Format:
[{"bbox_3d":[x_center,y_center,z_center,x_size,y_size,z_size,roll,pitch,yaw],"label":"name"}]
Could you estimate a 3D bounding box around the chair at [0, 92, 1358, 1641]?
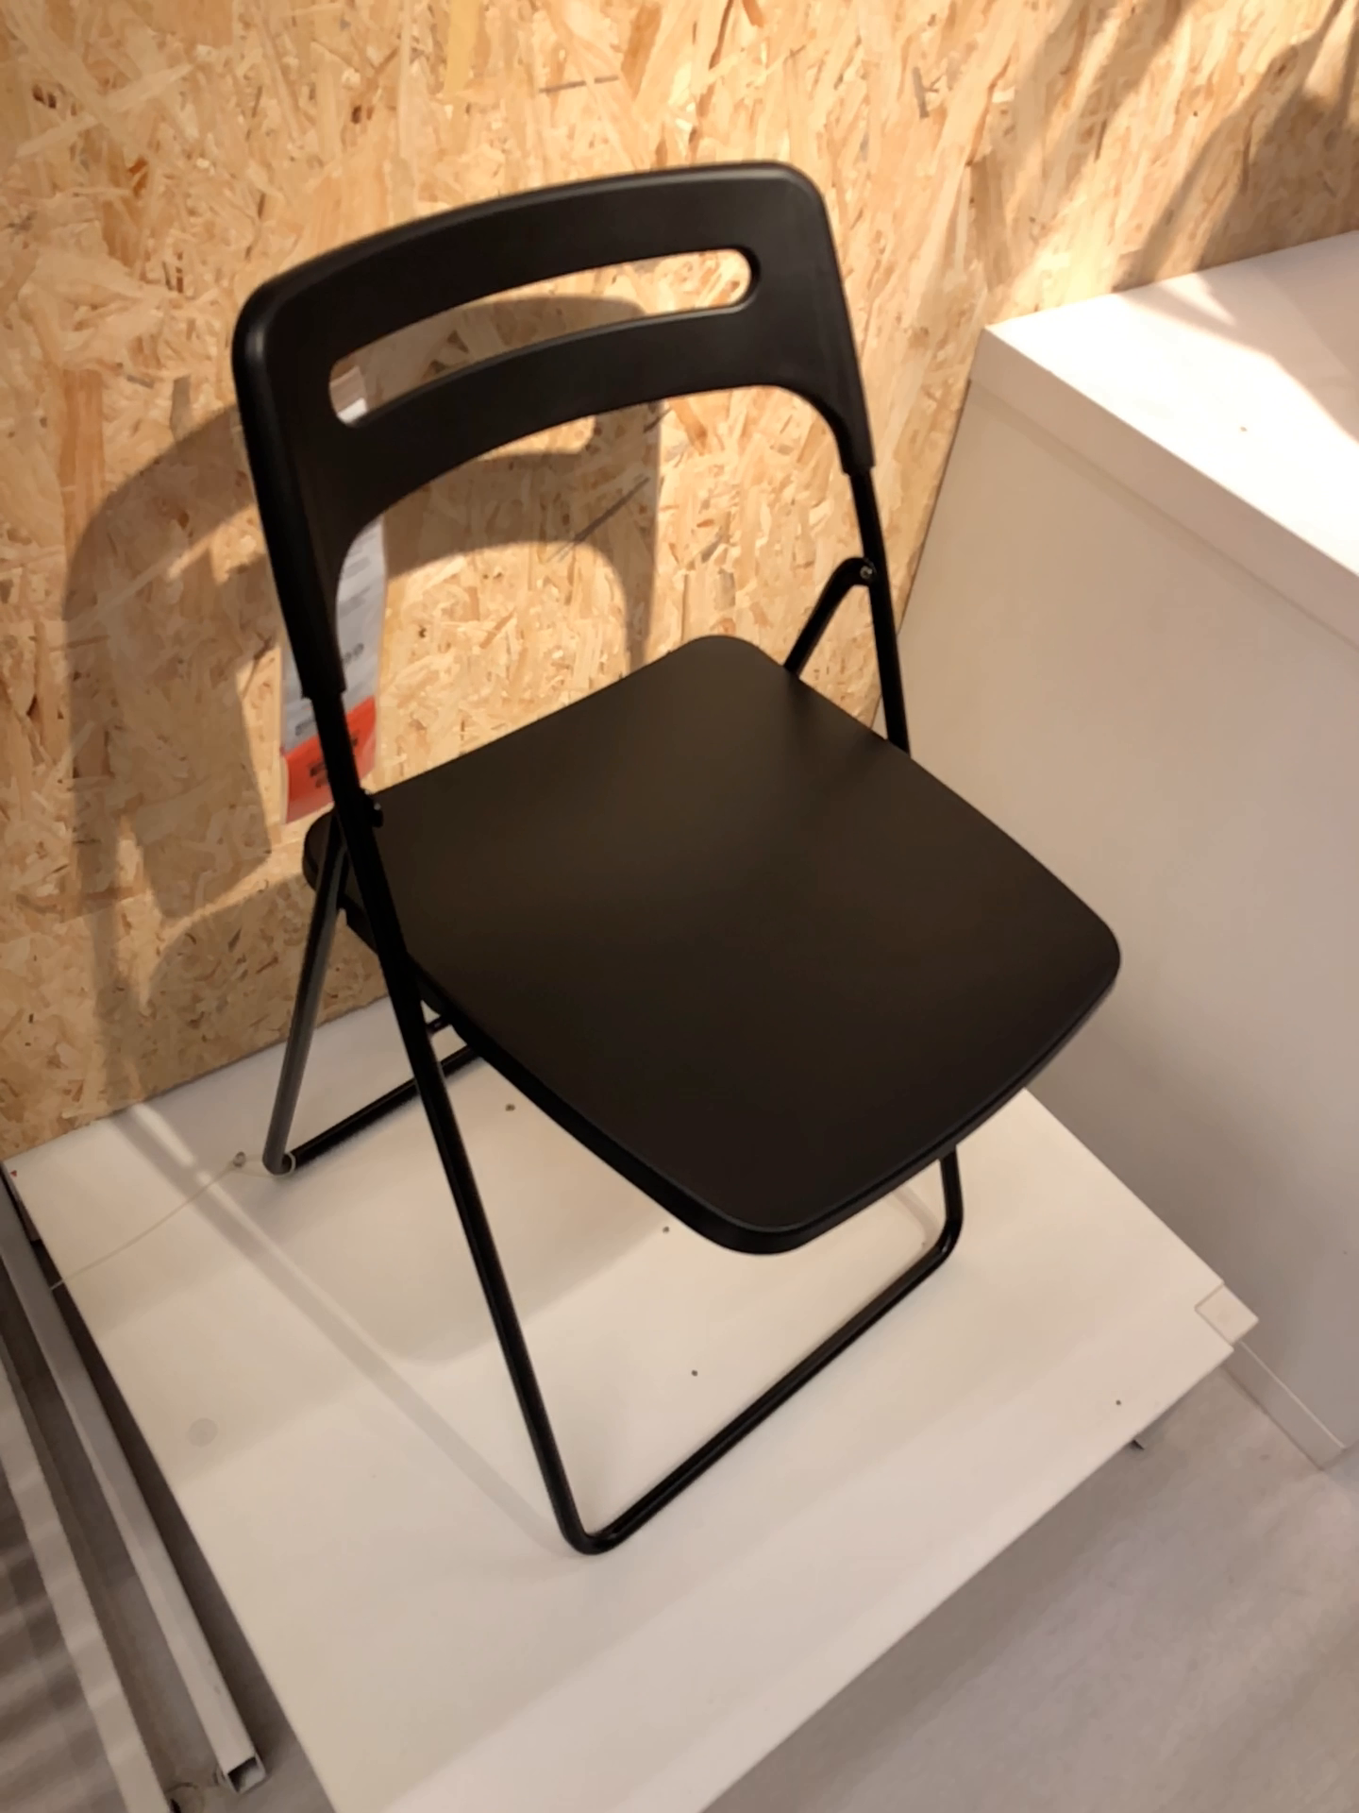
[{"bbox_3d":[-0.018,-0.015,0.978,0.492,0.735,0.522,-29,58,-31],"label":"chair"}]
